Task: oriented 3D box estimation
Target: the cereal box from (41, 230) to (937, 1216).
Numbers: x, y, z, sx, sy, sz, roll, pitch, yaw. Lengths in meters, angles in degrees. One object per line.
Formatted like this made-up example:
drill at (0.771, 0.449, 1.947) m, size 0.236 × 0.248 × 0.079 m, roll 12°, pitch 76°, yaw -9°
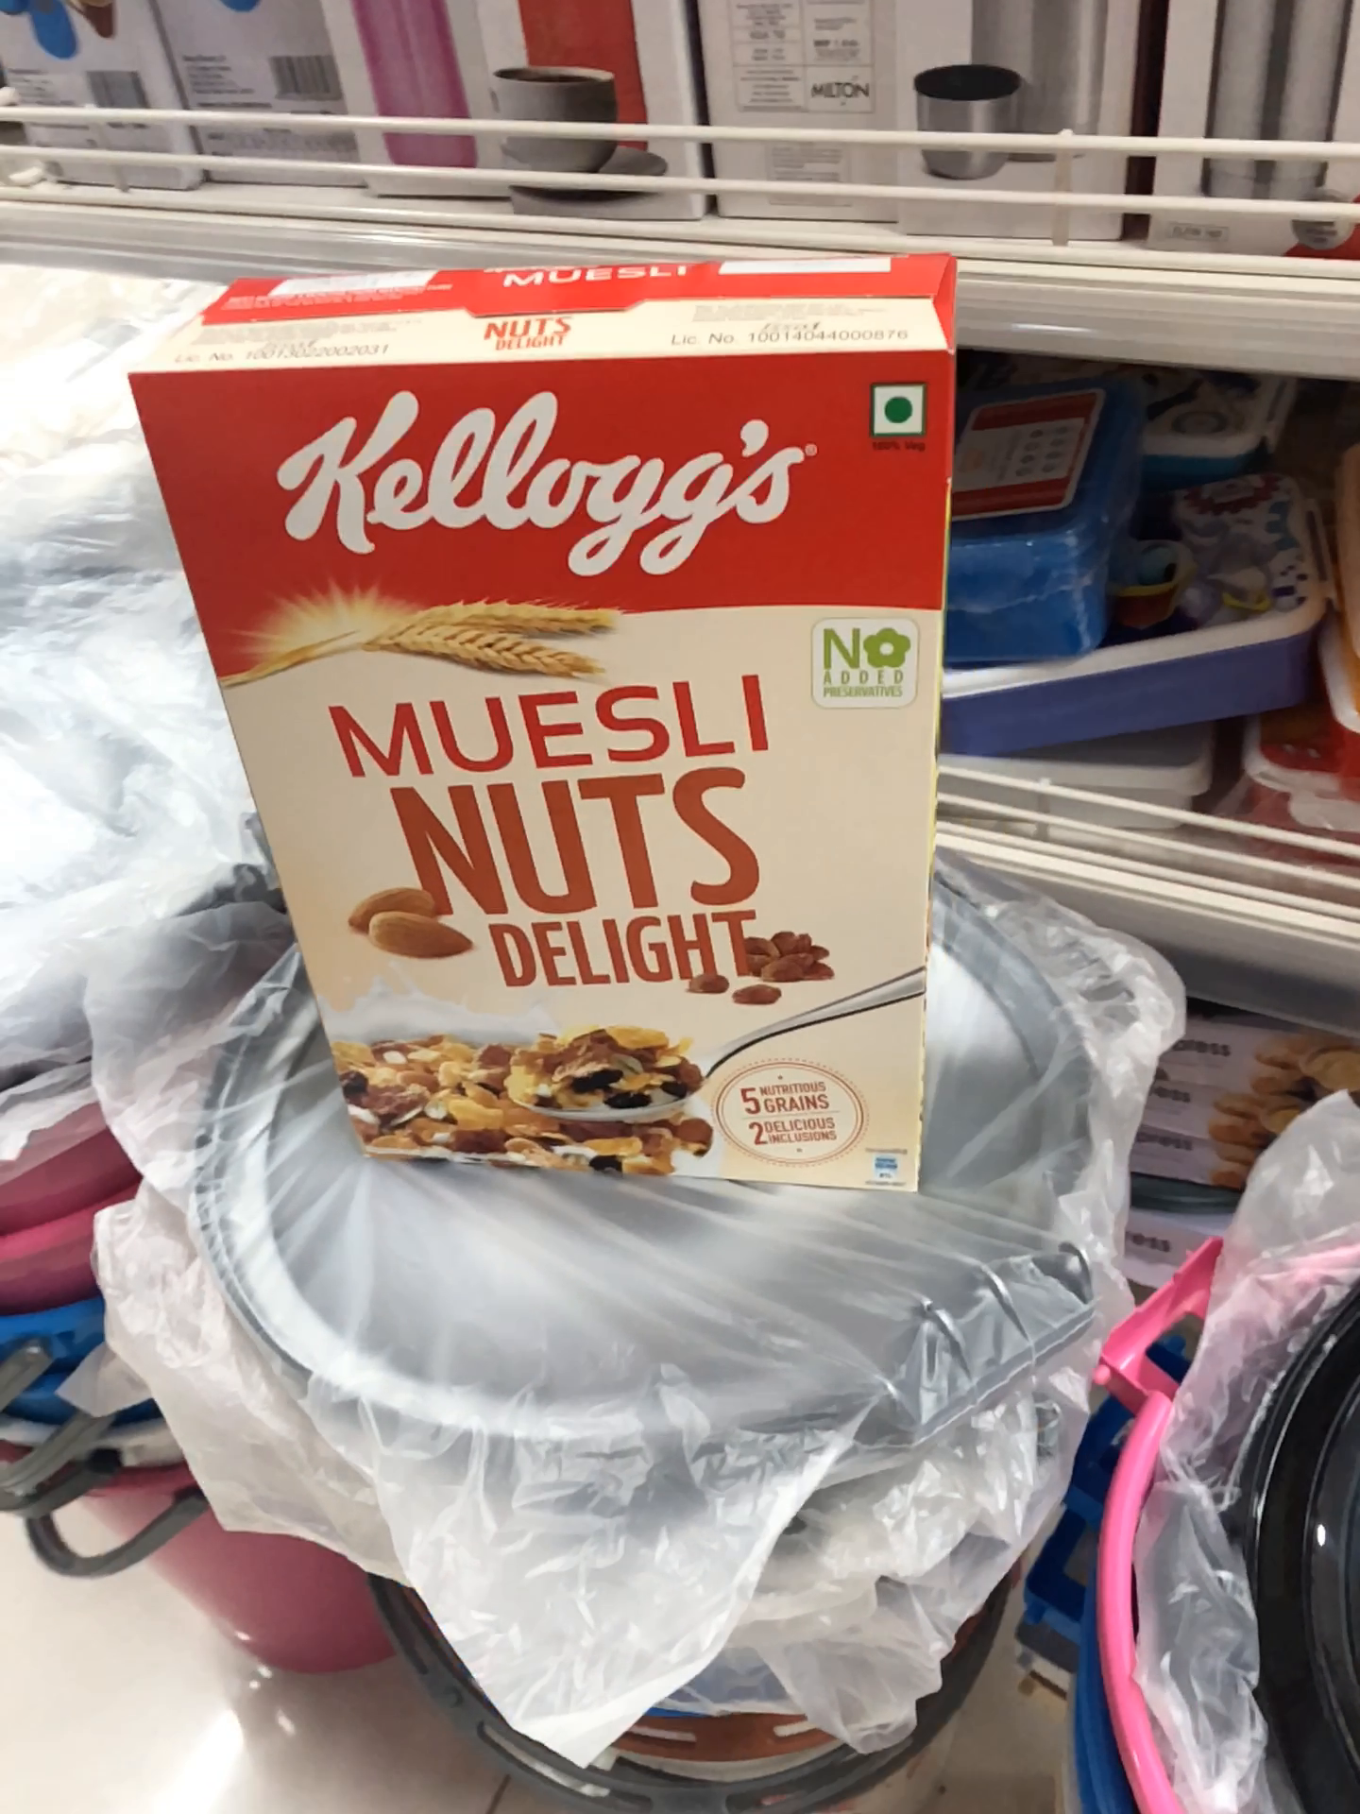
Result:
cereal box at (-0.032, -0.037, 0.416) m, size 0.190 × 0.259 × 0.070 m, roll 3°, pitch 37°, yaw 10°
